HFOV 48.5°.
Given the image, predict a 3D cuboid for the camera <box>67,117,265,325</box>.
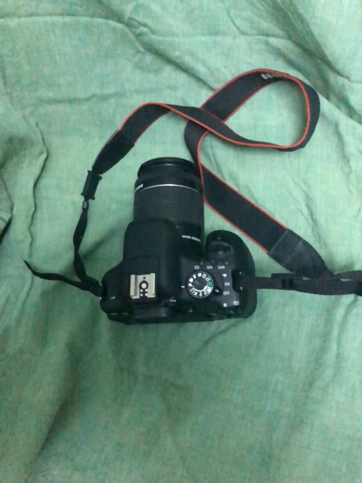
[{"bbox_3d":[-0.007,-0.007,0.349,0.142,0.100,0.144,-5,74,11],"label":"camera"}]
